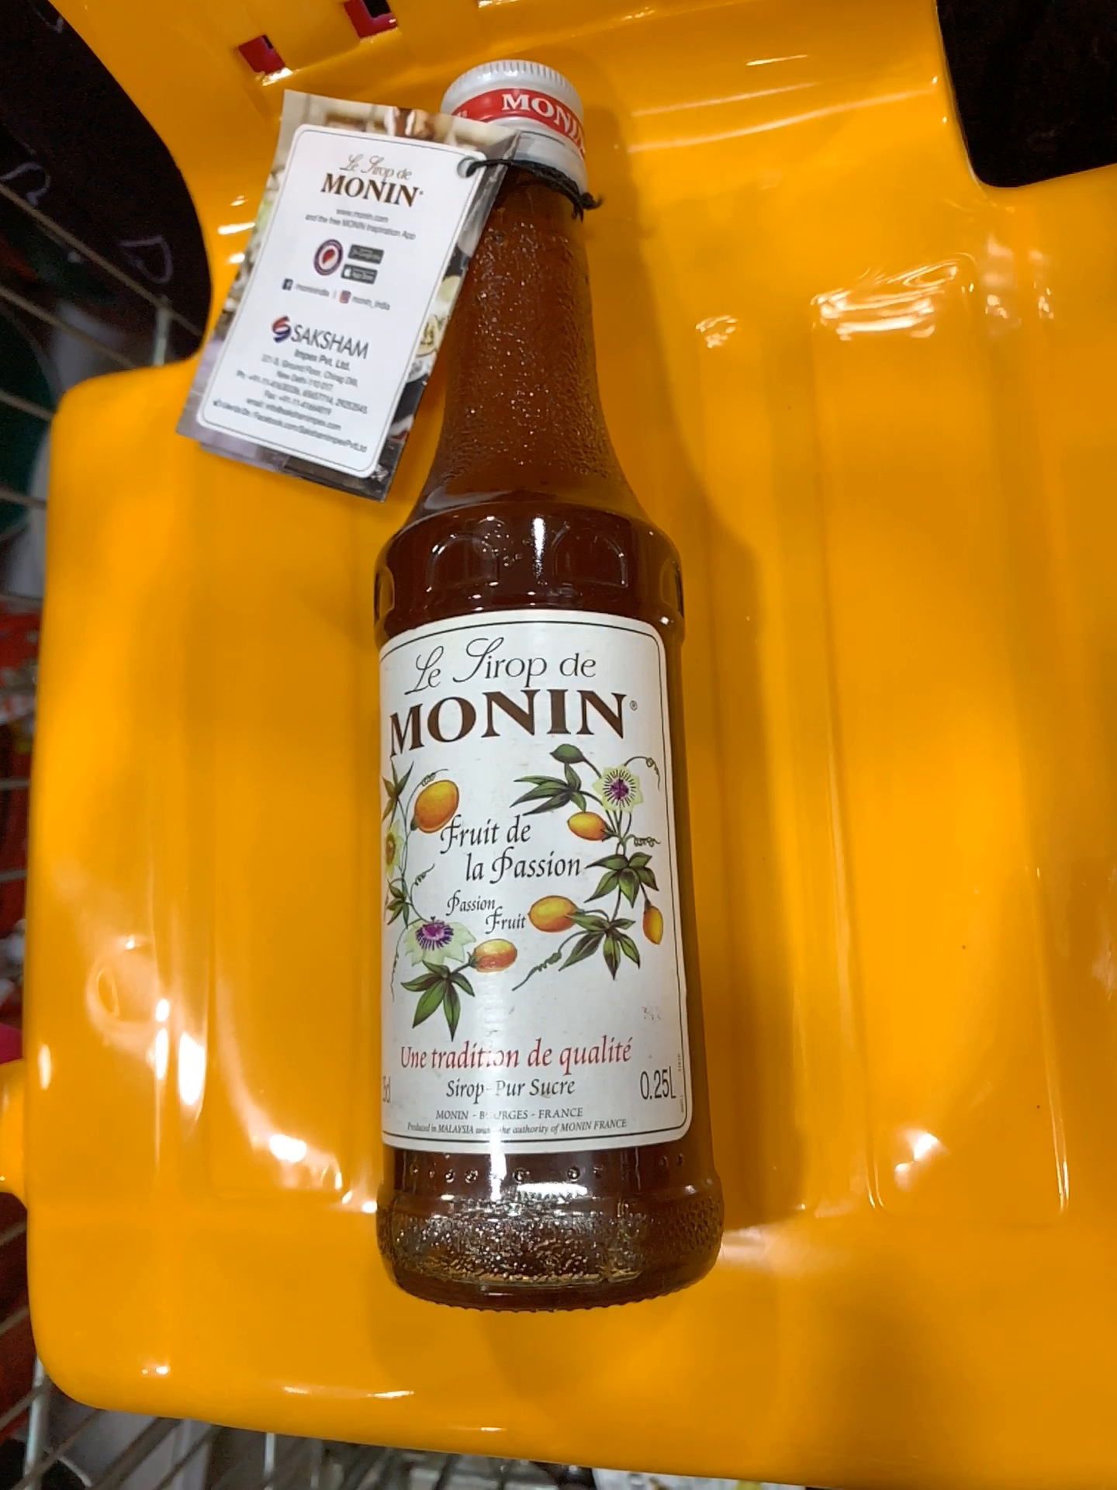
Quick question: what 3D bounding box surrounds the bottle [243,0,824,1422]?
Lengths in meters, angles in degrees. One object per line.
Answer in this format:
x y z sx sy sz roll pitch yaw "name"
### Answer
-0.004 -0.023 0.188 0.060 0.060 0.220 -8 79 16 "bottle"
